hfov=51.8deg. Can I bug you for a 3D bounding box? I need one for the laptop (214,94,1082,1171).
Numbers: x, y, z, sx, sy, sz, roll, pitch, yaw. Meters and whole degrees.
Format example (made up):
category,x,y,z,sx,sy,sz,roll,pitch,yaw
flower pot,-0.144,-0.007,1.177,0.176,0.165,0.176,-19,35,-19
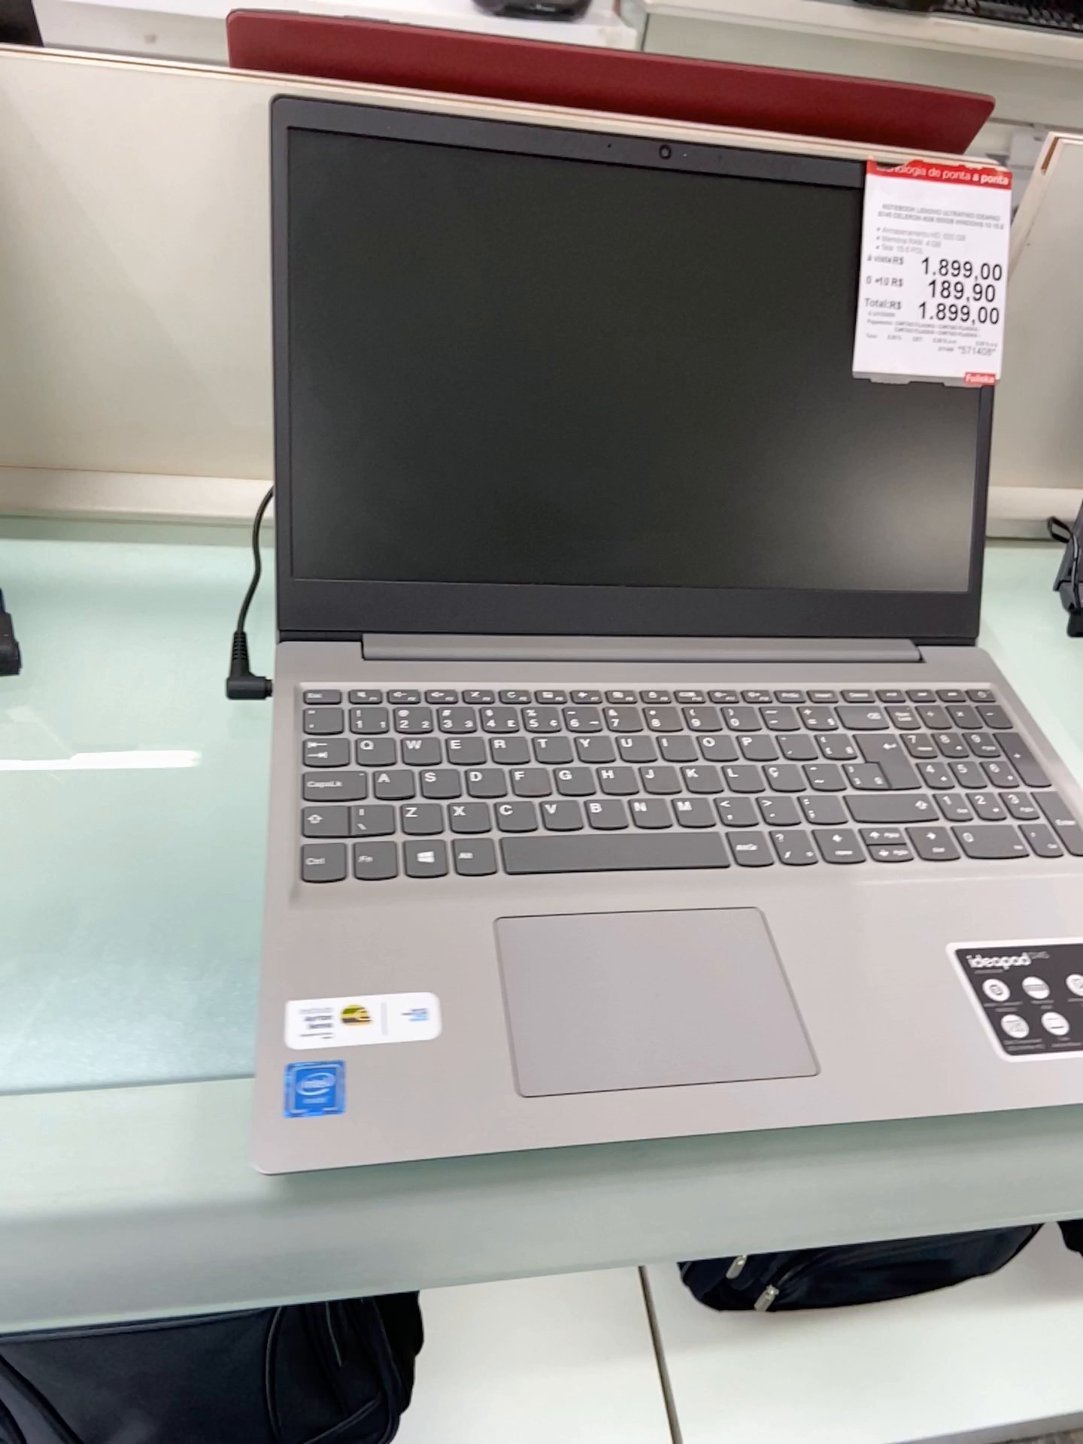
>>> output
category,x,y,z,sx,sy,sz,roll,pitch,yaw
laptop,0.076,-0.074,0.453,0.367,0.189,0.403,0,43,-11
